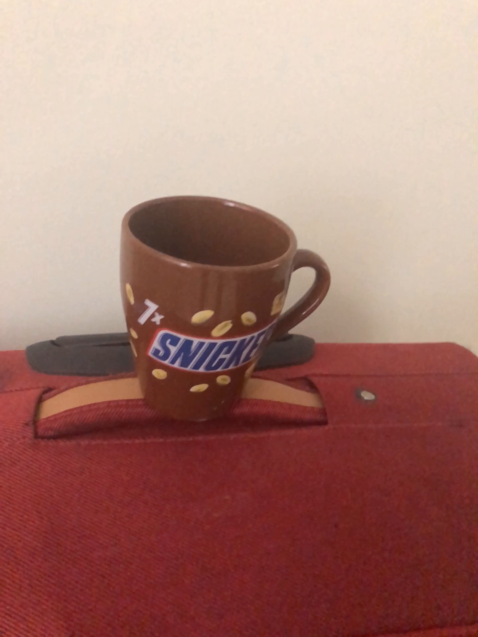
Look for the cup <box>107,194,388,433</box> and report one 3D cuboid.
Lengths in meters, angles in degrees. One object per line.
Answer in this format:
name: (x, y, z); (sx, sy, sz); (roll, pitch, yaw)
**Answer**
cup: (-0.005, -0.009, 0.271); (0.115, 0.080, 0.088); (-4, 34, -15)
